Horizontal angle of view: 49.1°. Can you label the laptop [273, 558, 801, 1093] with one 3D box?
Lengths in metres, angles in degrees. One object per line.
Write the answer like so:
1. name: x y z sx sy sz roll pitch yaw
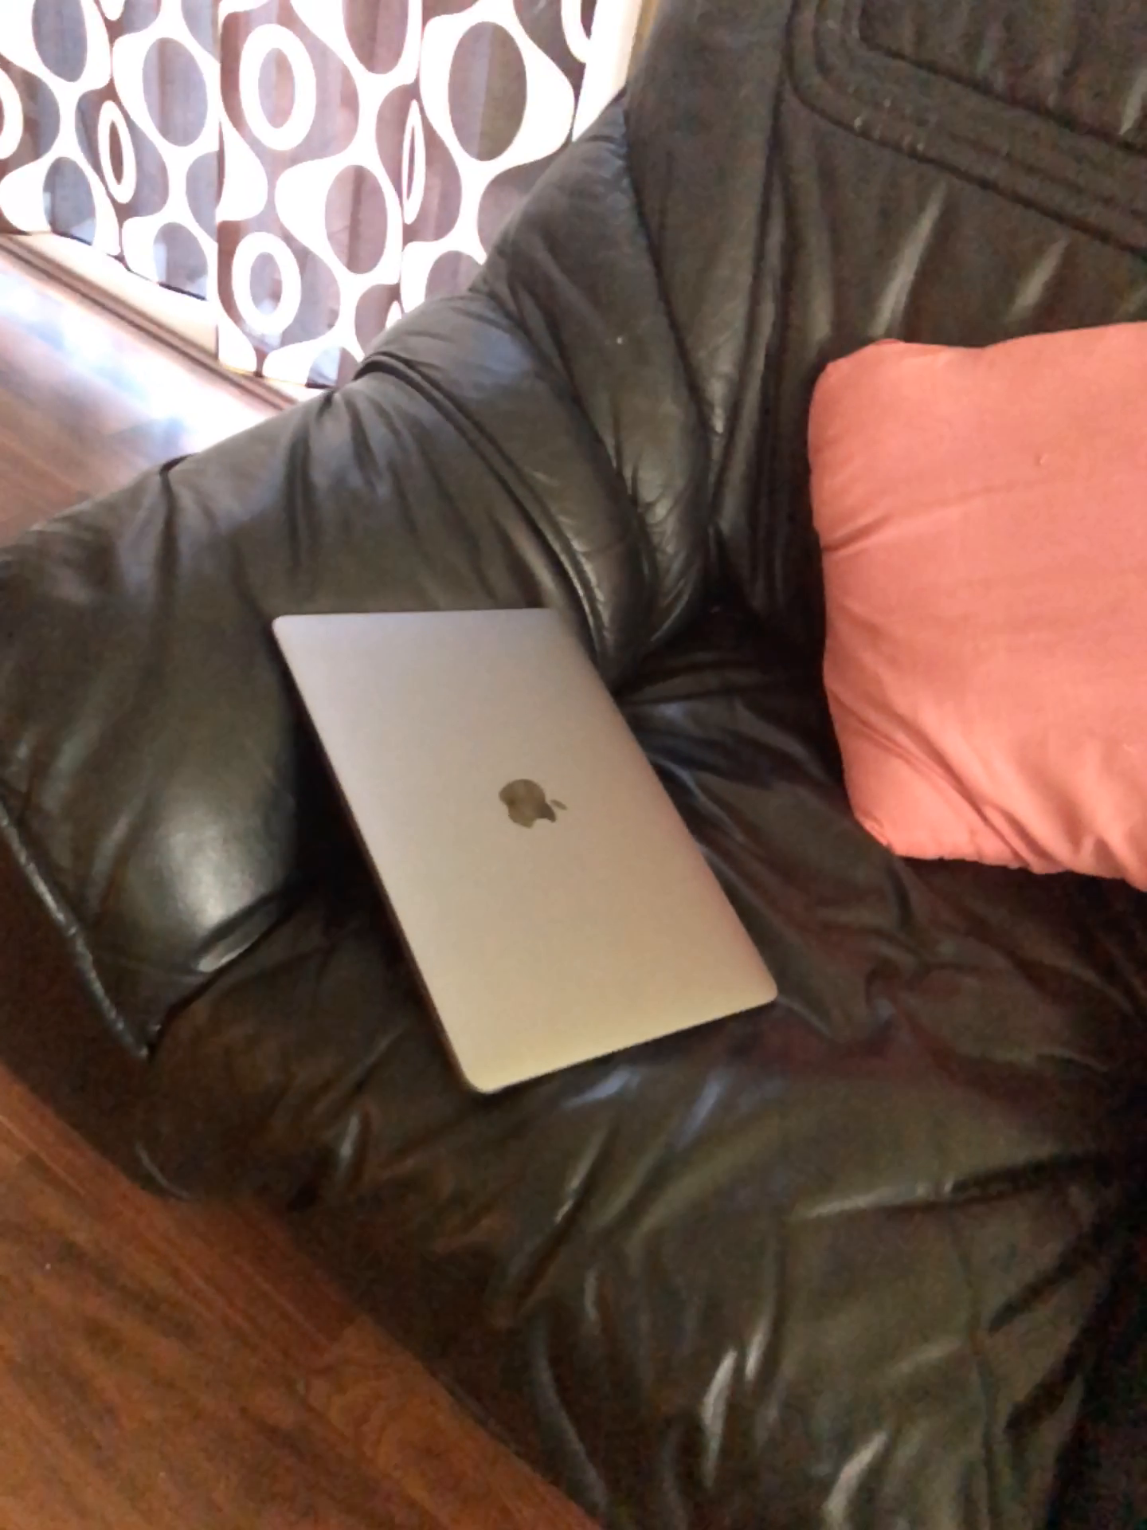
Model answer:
1. laptop: -0.021 0.008 0.624 0.185 0.036 0.265 -6 56 -38
